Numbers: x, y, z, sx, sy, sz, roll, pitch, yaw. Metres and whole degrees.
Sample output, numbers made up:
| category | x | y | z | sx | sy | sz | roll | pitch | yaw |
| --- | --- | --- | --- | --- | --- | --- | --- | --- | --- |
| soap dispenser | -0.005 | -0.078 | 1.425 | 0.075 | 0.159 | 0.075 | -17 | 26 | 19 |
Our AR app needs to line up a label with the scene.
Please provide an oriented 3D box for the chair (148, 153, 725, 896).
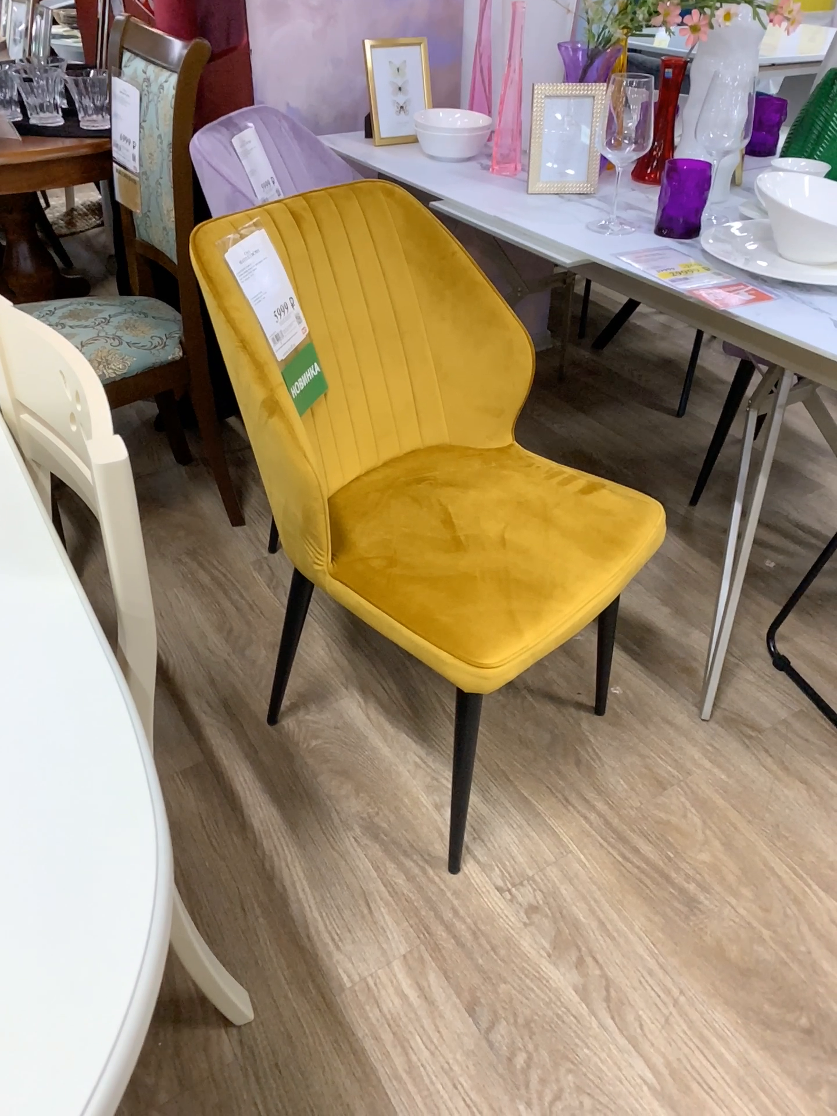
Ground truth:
| category | x | y | z | sx | sy | sz | roll | pitch | yaw |
| --- | --- | --- | --- | --- | --- | --- | --- | --- | --- |
| chair | 0.020 | -0.060 | 1.305 | 0.501 | 0.885 | 0.502 | 28 | 43 | 30 |
